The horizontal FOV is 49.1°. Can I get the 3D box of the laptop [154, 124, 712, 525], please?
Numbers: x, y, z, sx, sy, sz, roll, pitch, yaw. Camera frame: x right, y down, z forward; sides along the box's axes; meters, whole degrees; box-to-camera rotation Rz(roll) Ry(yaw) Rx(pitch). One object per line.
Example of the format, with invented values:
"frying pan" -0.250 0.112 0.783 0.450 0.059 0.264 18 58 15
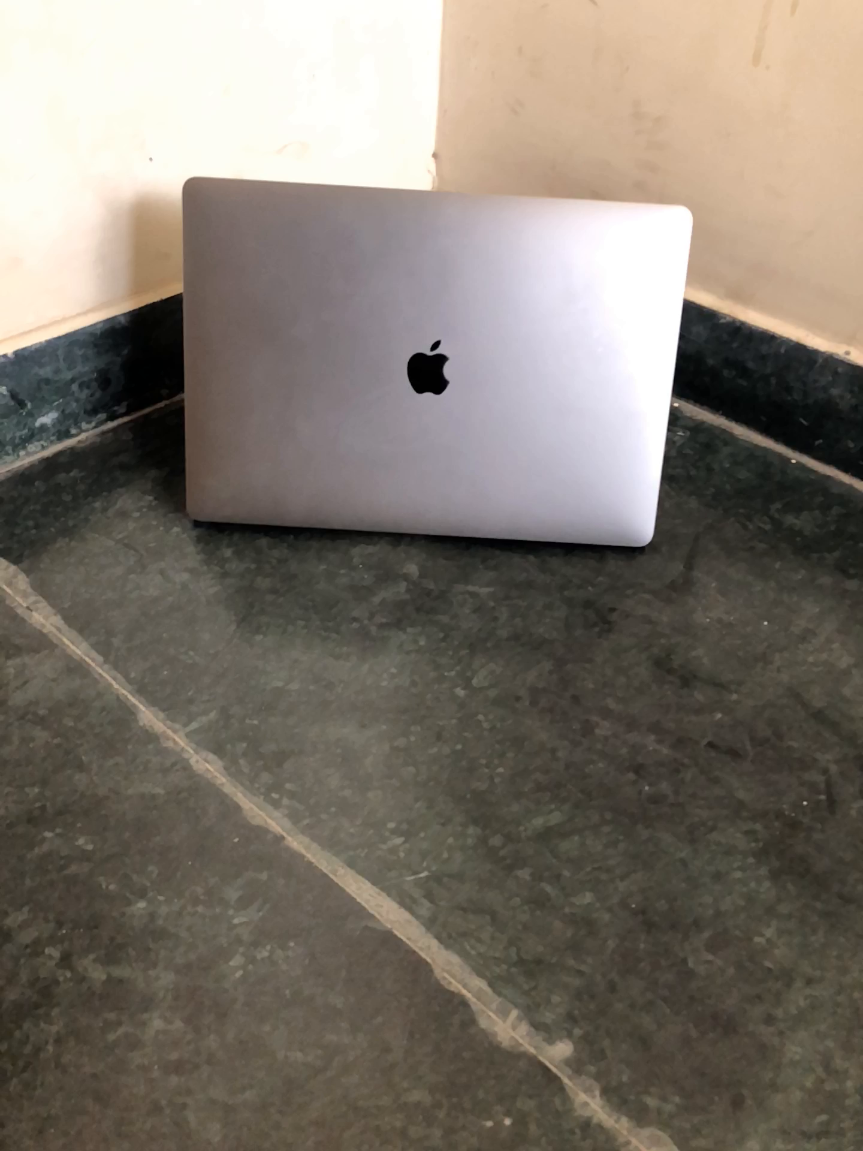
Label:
"laptop" 0.000 -0.192 0.703 0.329 0.198 0.222 3 41 2
